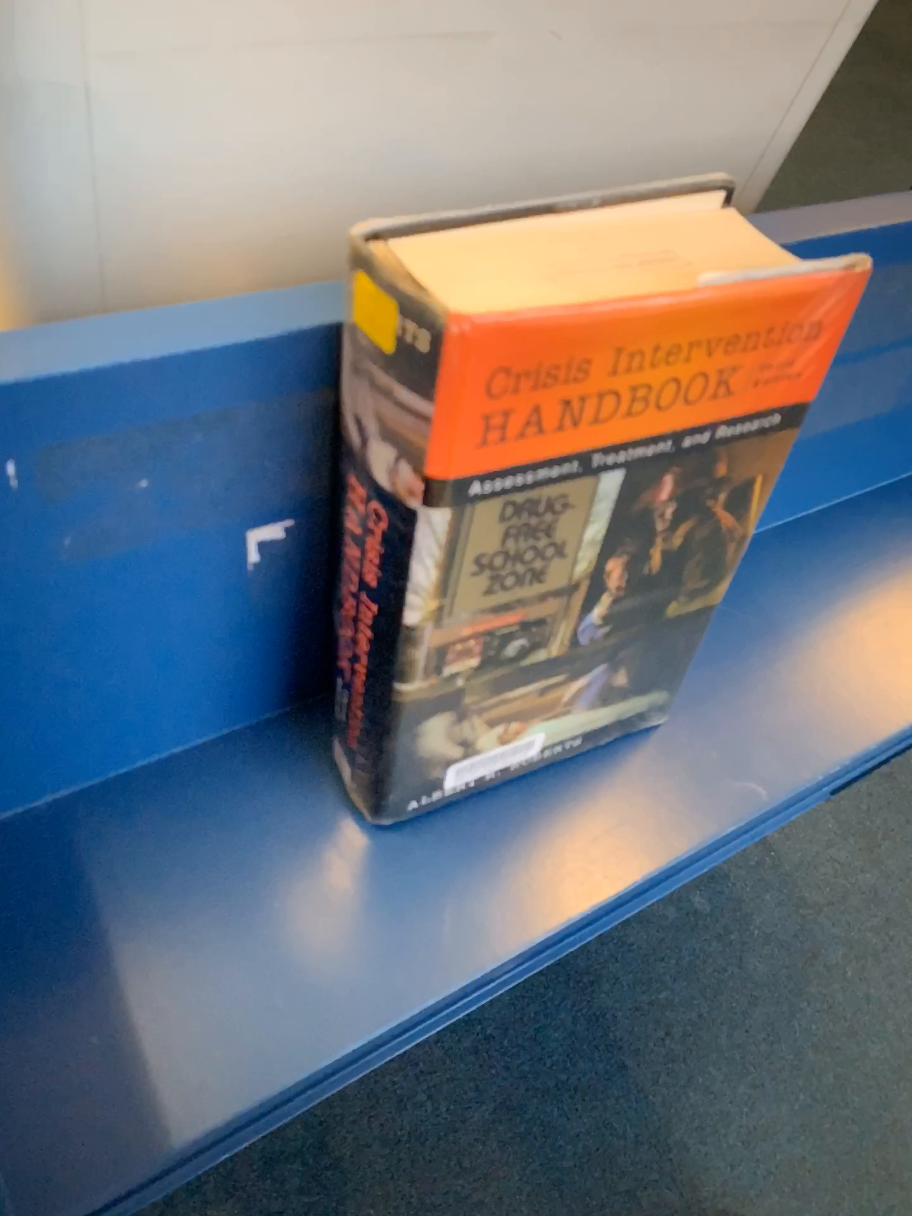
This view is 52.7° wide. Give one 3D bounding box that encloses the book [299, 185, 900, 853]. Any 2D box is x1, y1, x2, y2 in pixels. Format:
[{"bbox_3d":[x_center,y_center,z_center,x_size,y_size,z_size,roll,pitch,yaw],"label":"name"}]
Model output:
[{"bbox_3d":[0.037,-0.030,0.376,0.181,0.238,0.080,-16,48,-25],"label":"book"}]
